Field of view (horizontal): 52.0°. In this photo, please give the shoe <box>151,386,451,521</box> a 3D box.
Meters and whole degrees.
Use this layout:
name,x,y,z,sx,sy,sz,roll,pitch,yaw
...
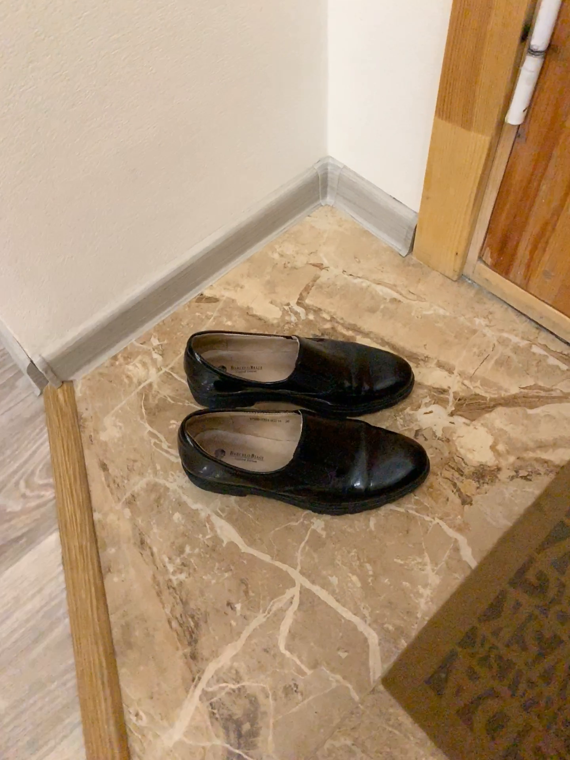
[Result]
name,x,y,z,sx,sy,sz,roll,pitch,yaw
shoe,0.017,0.073,0.573,0.260,0.100,0.090,1,58,5

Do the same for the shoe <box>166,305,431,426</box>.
name,x,y,z,sx,sy,sz,roll,pitch,yaw
shoe,0.016,-0.013,0.640,0.260,0.100,0.090,0,58,4
